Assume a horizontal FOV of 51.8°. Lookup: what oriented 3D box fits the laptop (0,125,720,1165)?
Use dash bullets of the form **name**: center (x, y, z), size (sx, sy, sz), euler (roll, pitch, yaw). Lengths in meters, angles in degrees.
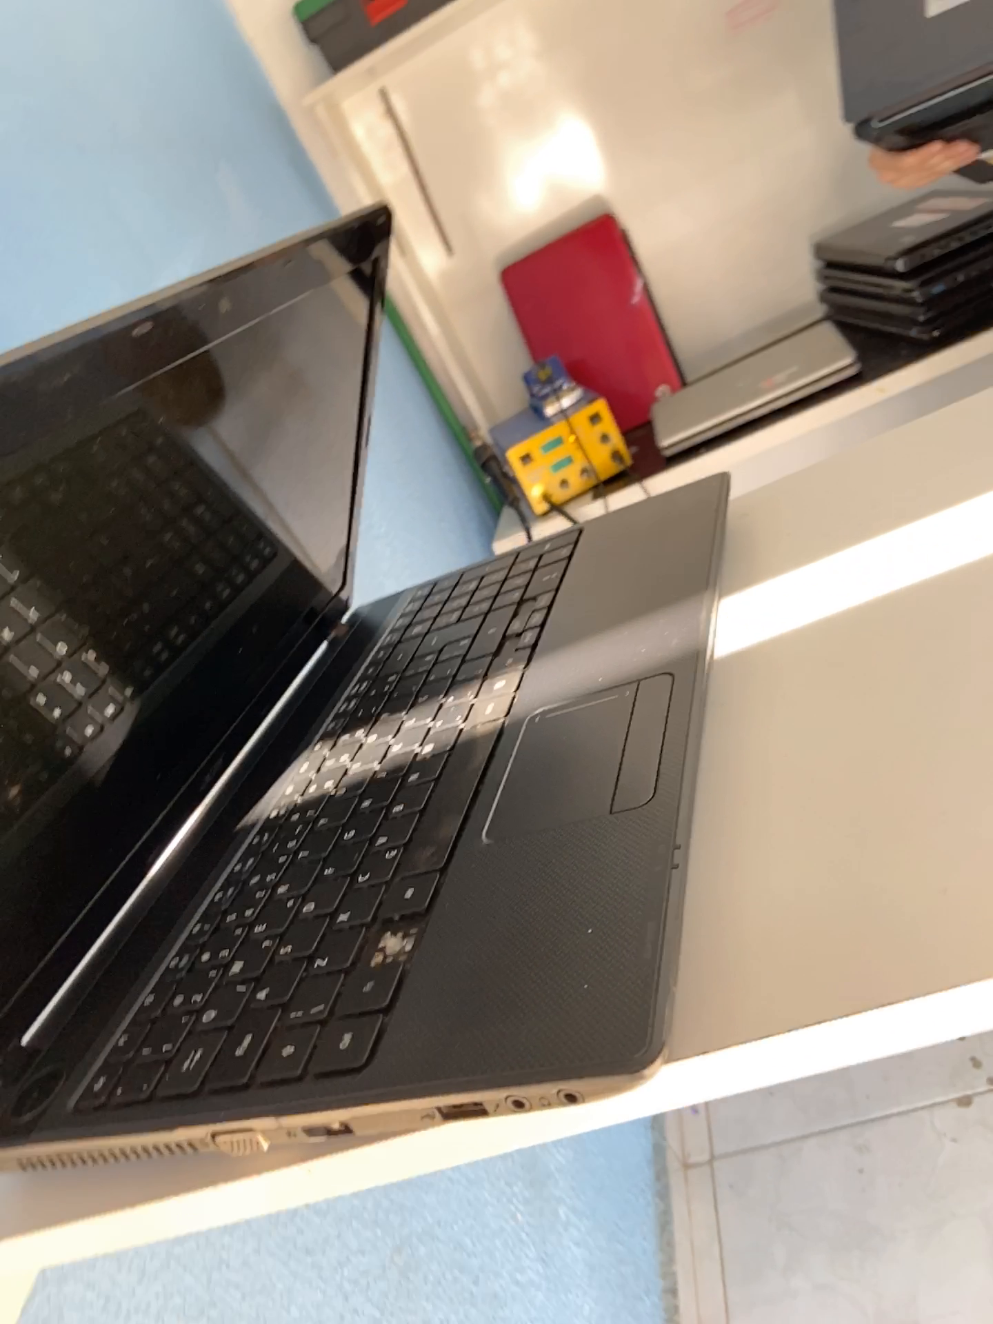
- **laptop**: center (-0.077, -0.044, 0.408), size (0.248, 0.191, 0.377), euler (-19, 23, 25)
